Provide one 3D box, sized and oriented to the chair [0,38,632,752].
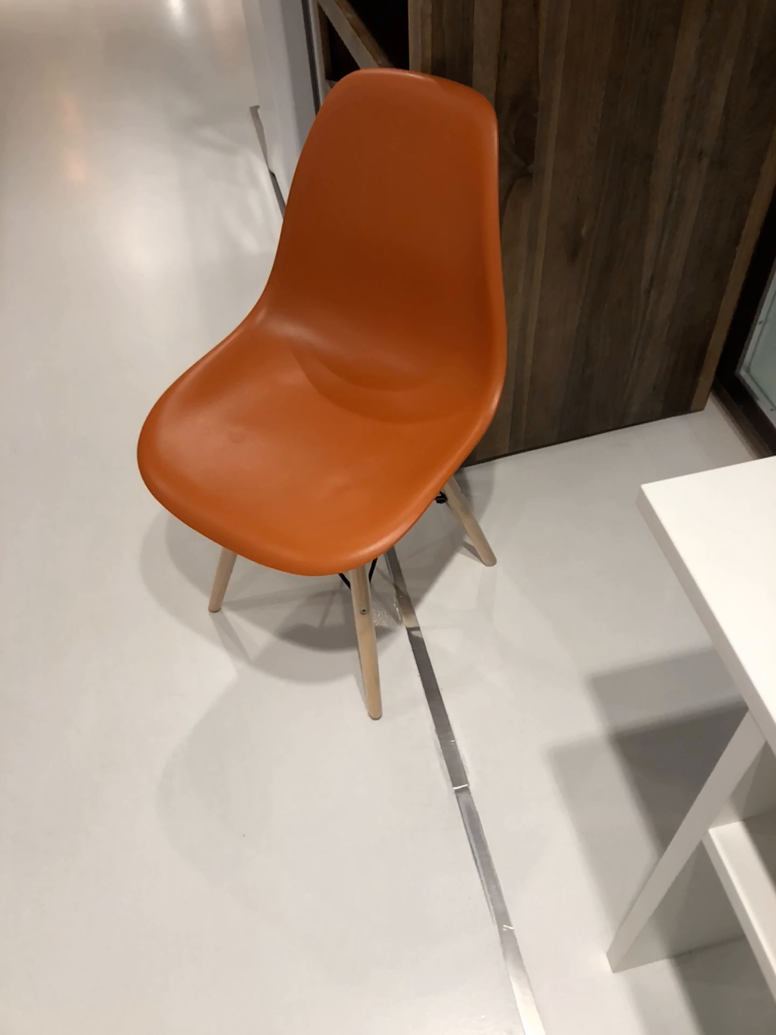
[{"bbox_3d":[-0.054,-0.164,1.278,0.491,0.745,0.583,28,58,24],"label":"chair"}]
